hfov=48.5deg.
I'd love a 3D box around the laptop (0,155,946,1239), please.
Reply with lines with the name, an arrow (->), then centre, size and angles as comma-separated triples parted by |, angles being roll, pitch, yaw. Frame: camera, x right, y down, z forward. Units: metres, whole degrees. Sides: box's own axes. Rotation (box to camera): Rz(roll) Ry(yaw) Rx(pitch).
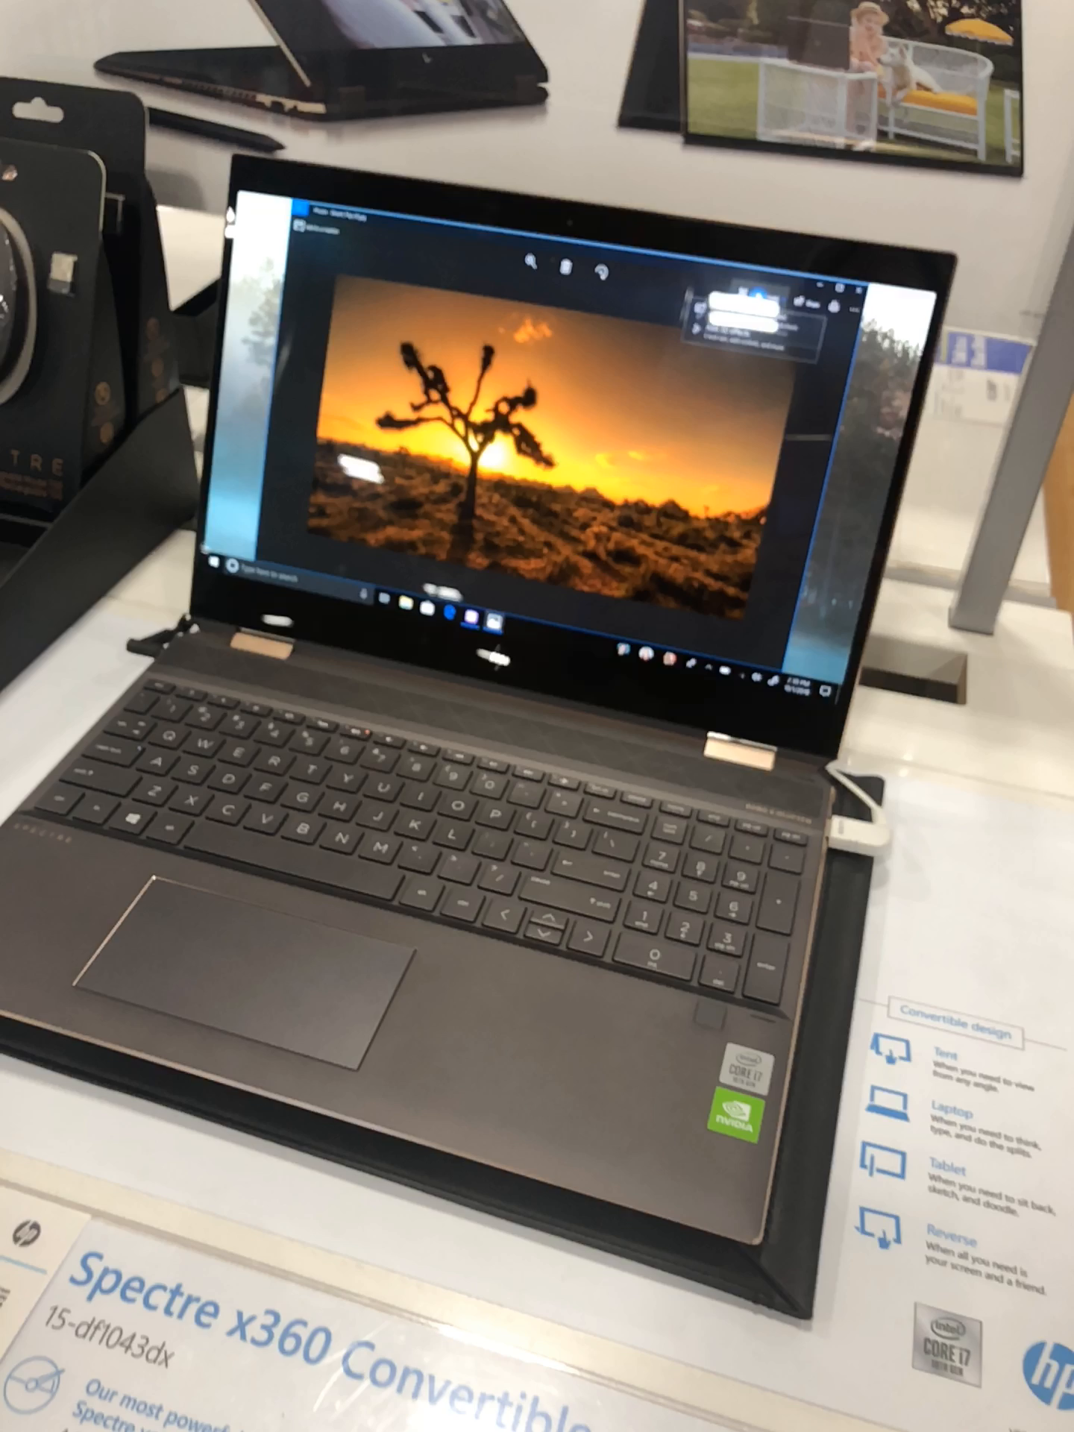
laptop -> -0.038, -0.052, 0.503 | 0.348, 0.209, 0.361 | 13, 42, 11
